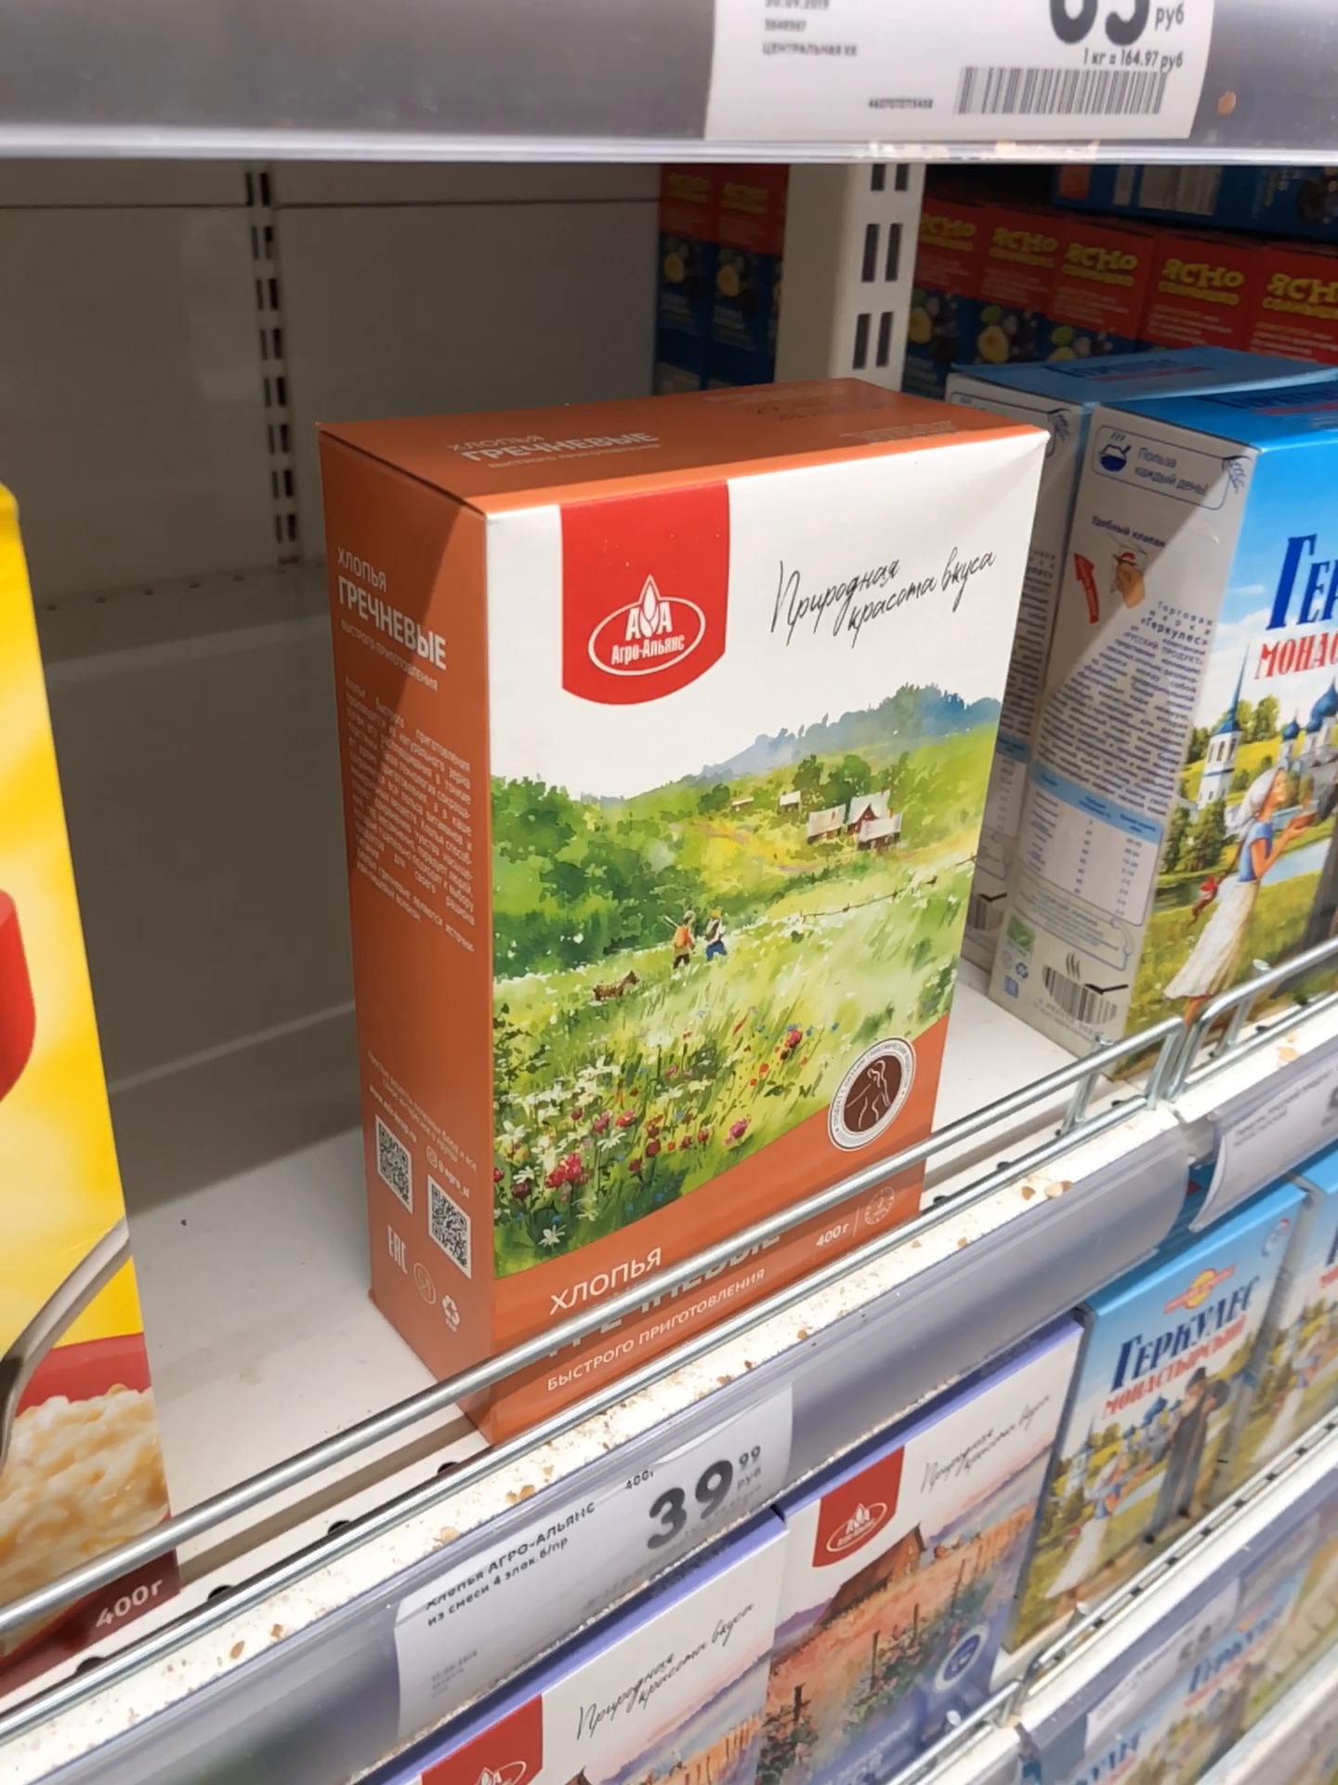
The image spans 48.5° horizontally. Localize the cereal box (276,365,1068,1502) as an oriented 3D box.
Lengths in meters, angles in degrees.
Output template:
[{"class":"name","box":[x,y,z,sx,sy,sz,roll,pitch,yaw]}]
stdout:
[{"class":"cereal box","box":[0.000,0.004,0.306,0.130,0.199,0.060,-18,34,-35]}]
